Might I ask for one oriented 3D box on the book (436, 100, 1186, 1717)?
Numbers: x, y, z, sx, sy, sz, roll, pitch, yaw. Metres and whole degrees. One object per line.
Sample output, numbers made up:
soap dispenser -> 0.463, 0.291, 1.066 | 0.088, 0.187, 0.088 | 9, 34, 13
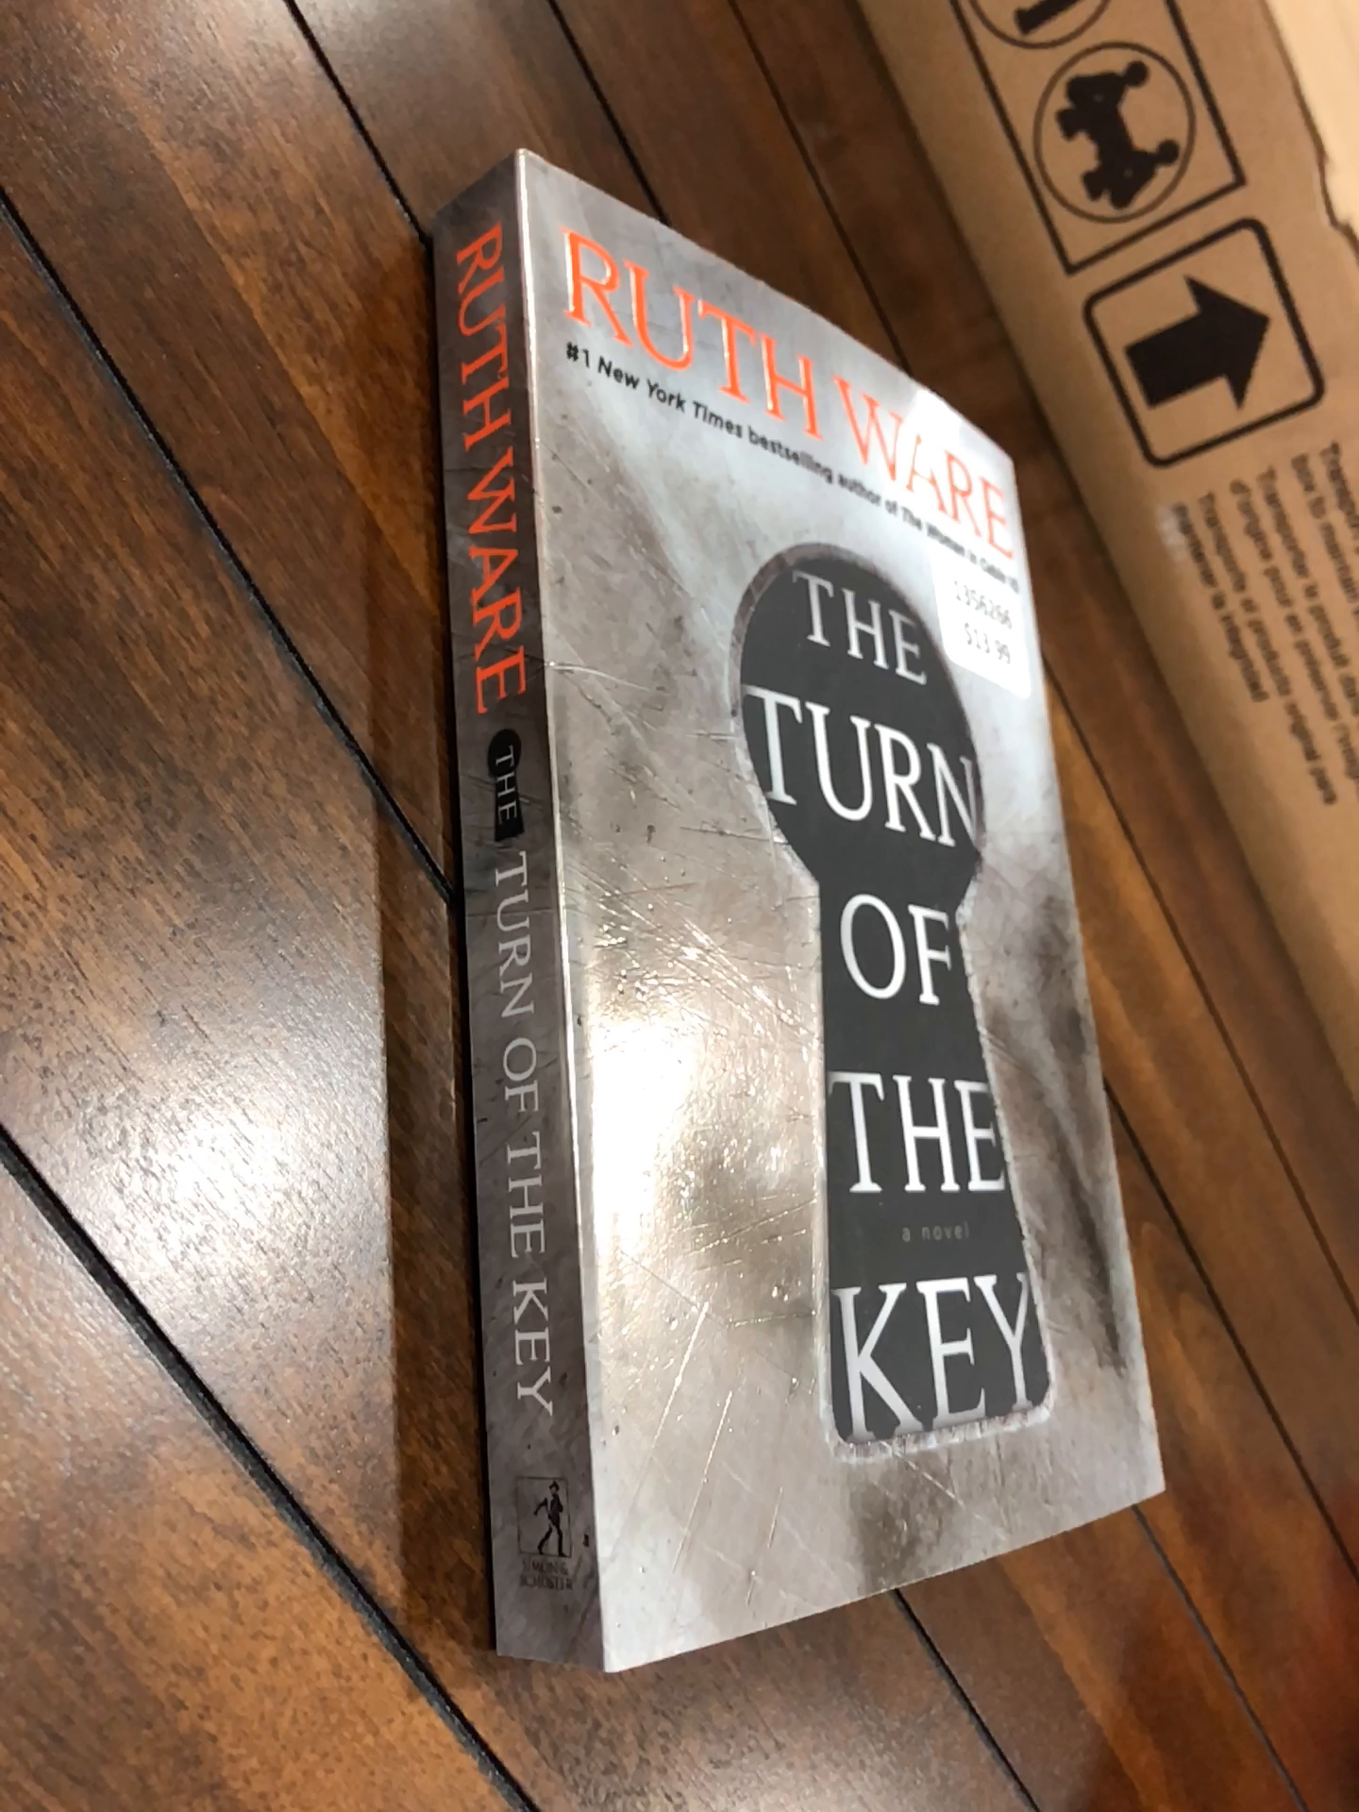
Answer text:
book -> 0.030, -0.001, 0.281 | 0.158, 0.028, 0.232 | 11, 70, -48
